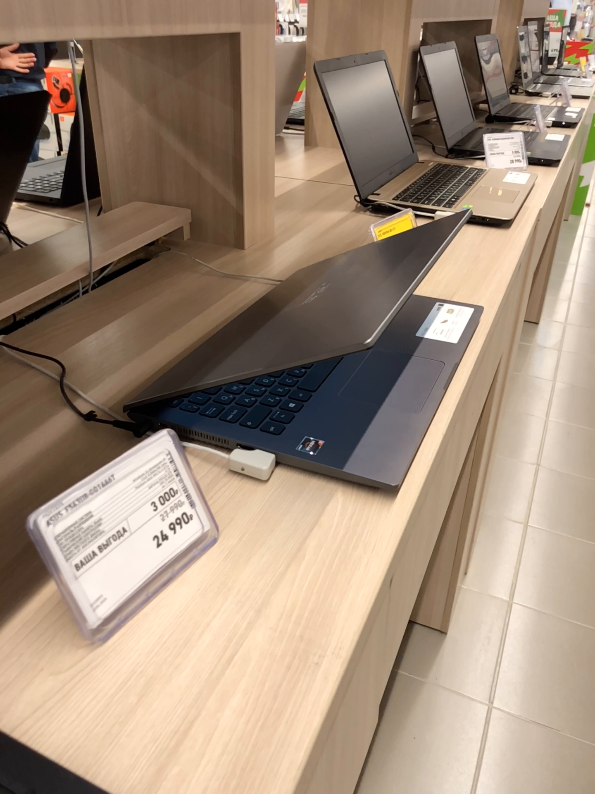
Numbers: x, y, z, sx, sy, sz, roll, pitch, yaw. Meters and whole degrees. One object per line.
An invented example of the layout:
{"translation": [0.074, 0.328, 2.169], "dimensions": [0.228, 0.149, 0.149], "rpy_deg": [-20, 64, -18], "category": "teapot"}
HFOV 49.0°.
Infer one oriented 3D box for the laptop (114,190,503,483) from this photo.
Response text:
{"translation": [0.038, -0.091, 0.617], "dimensions": [0.232, 0.111, 0.350], "rpy_deg": [13, 33, 20], "category": "laptop"}
